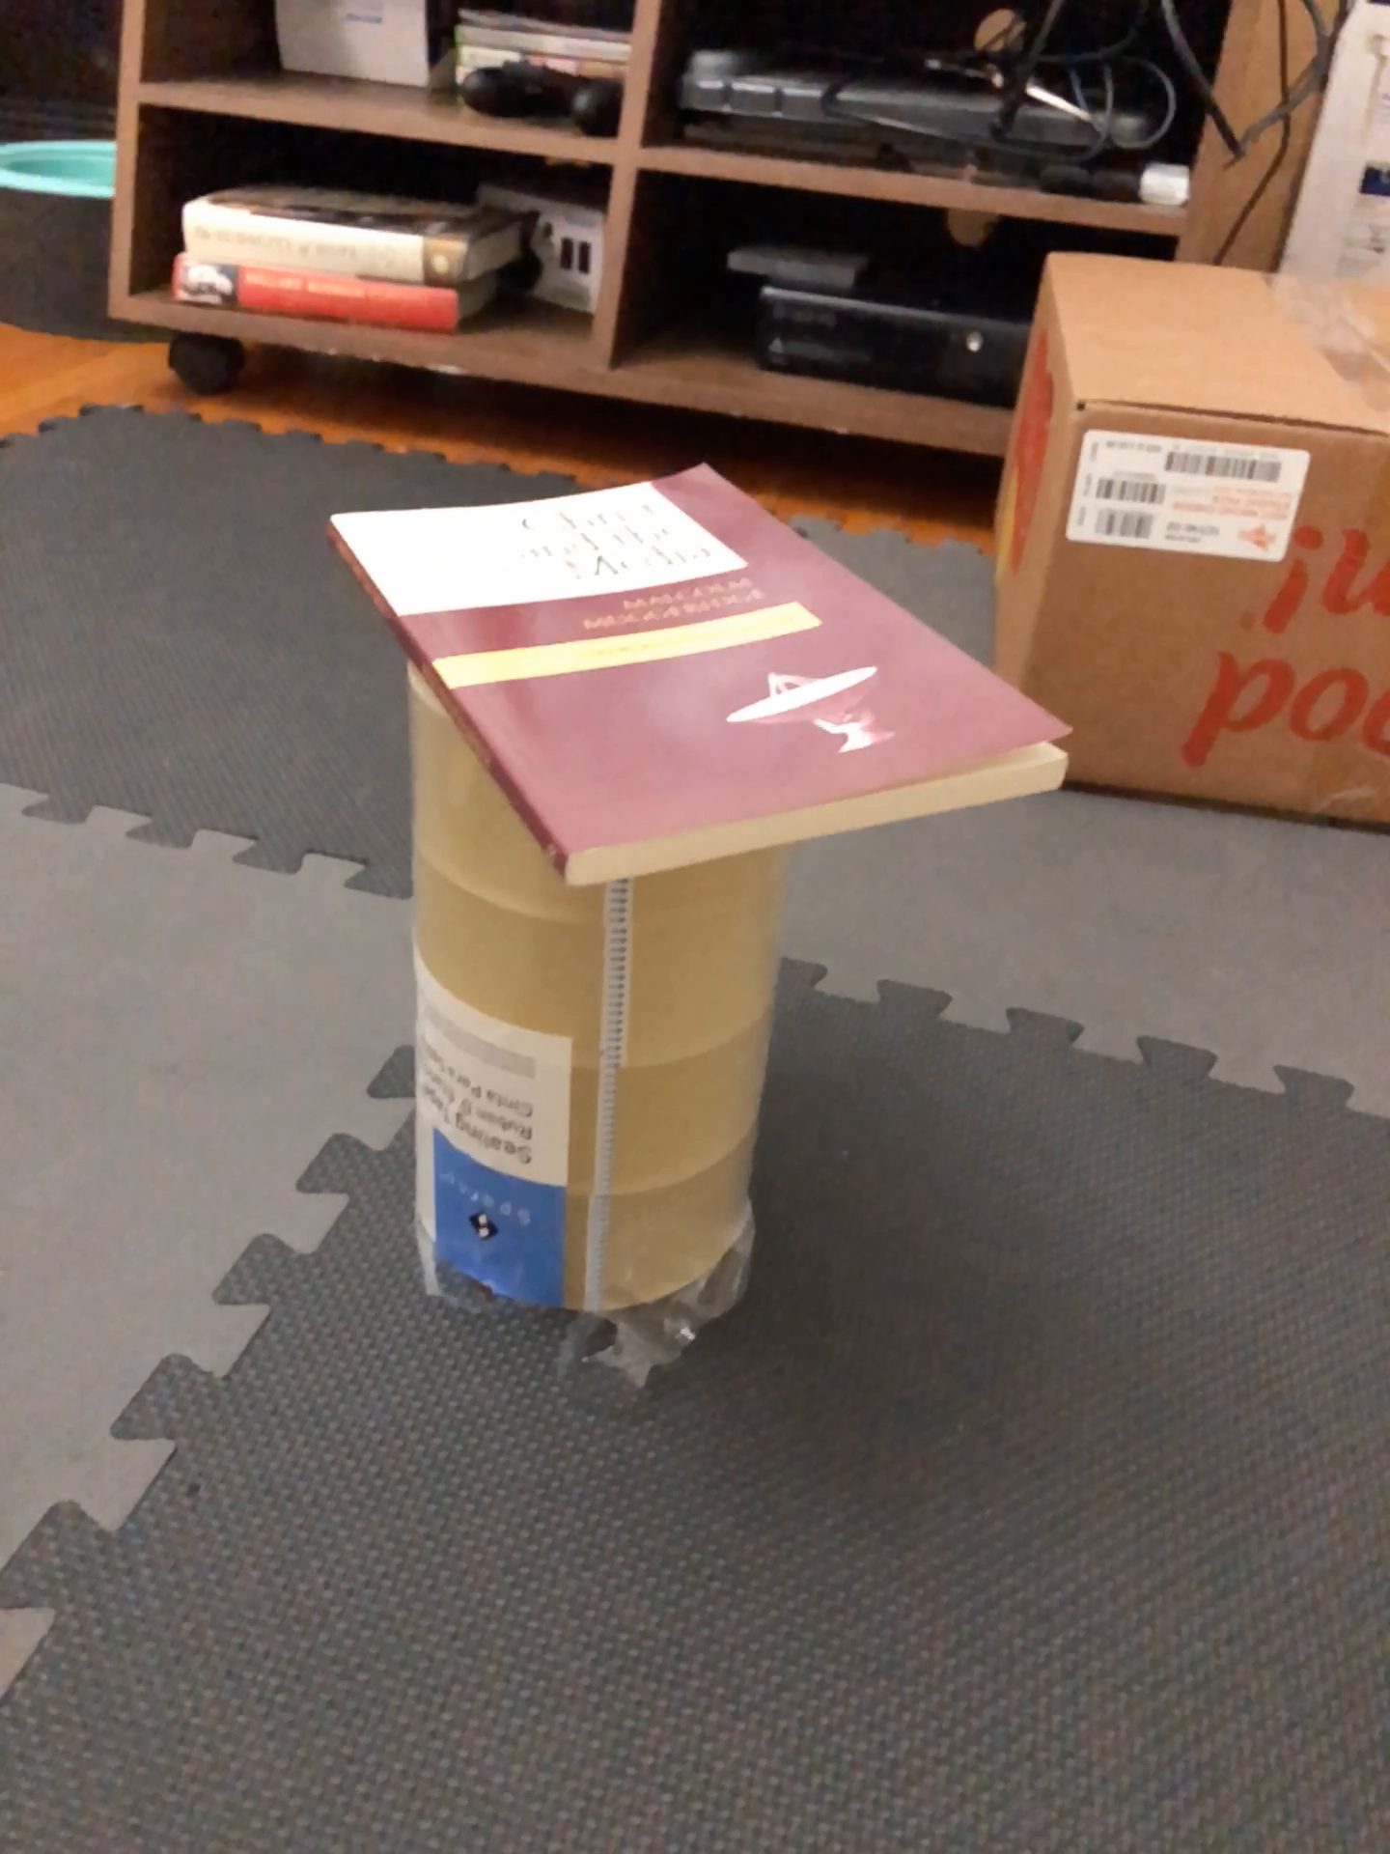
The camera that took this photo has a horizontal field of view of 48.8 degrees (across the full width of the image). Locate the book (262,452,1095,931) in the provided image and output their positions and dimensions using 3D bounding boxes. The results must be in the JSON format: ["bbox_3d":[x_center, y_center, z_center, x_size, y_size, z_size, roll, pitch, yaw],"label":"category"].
[{"bbox_3d":[-0.018,-0.078,0.405,0.140,0.020,0.211,-12,38,-24],"label":"book"}]
